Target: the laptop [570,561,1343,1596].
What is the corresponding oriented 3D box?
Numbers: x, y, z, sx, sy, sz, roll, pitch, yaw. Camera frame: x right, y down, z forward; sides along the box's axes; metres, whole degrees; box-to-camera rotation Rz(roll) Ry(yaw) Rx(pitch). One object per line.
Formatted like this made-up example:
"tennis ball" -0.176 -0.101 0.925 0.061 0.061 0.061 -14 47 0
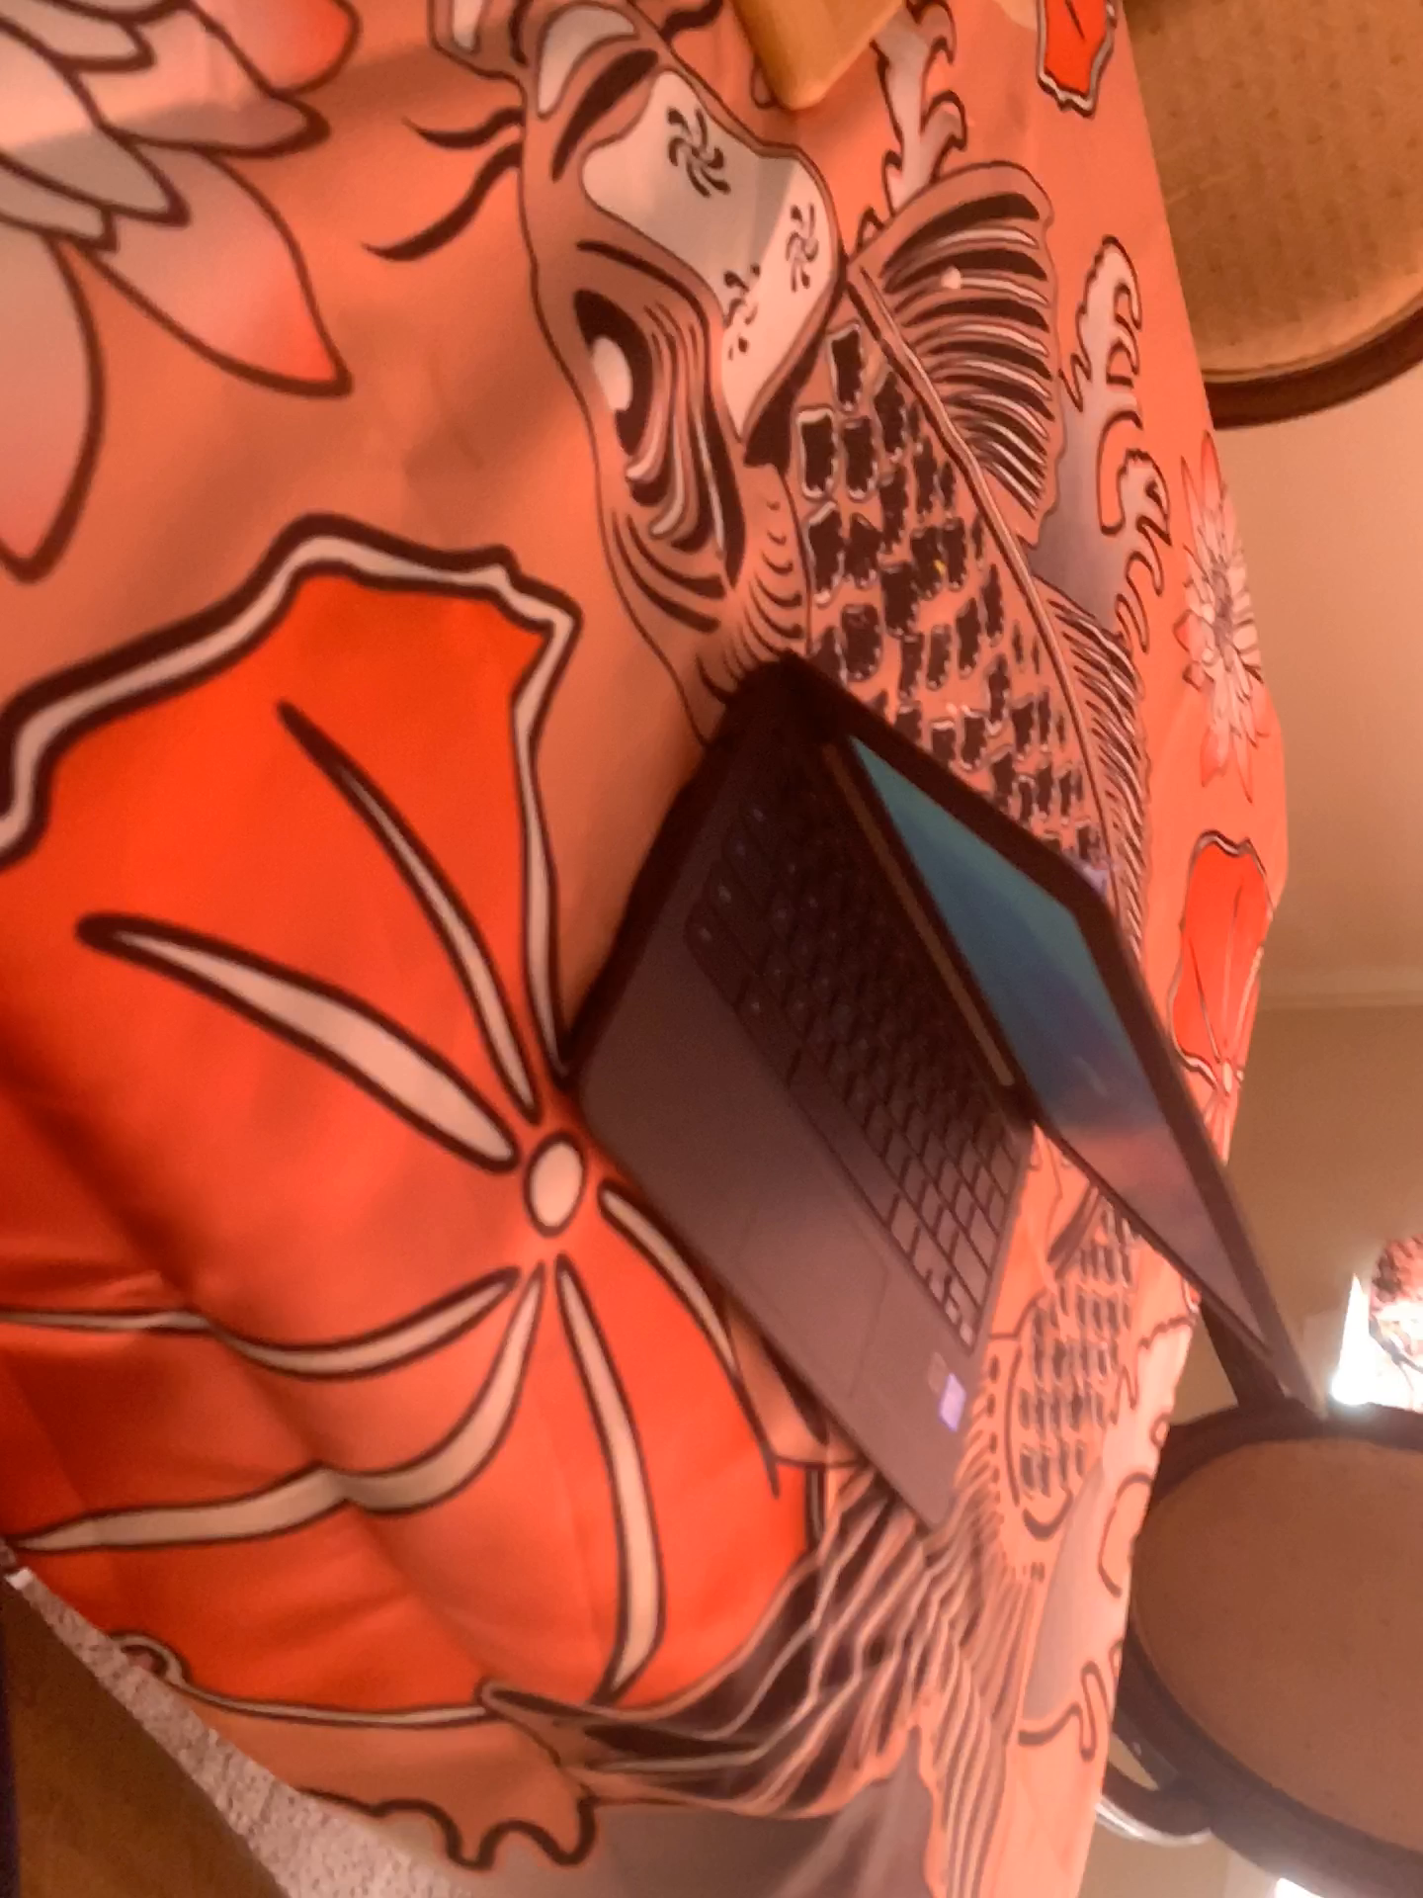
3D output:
"laptop" 0.120 0.059 0.523 0.300 0.144 0.212 56 42 -38
